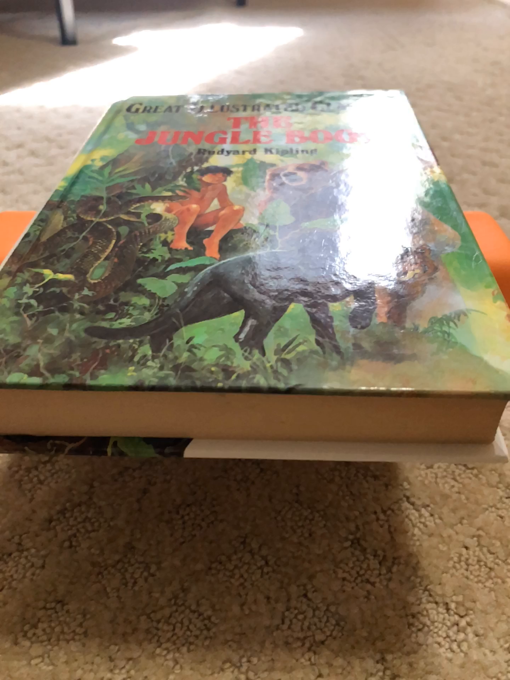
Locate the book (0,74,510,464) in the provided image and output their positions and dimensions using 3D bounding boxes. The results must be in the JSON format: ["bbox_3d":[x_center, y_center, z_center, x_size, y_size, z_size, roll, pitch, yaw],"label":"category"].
[{"bbox_3d":[0.000,-0.050,0.212,0.140,0.029,0.209,1,41,2],"label":"book"}]
